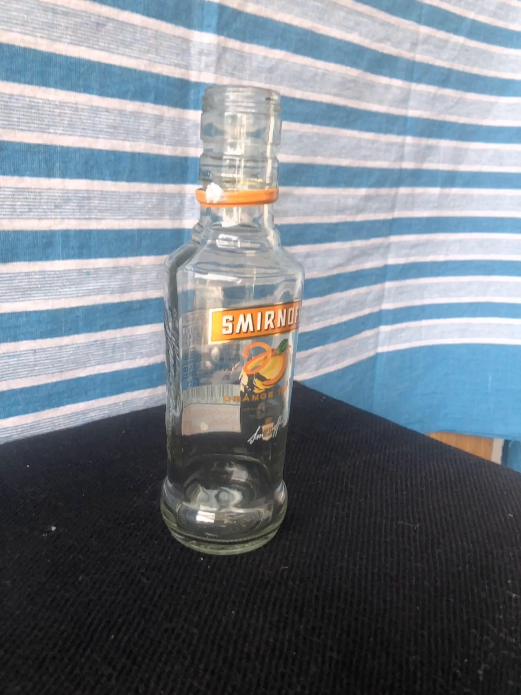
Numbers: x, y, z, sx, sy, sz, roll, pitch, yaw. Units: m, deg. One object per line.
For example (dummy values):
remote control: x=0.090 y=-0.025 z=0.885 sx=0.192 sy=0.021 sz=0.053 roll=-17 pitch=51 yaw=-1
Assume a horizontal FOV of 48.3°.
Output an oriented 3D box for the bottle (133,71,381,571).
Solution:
bottle: x=-0.007 y=-0.008 z=0.226 sx=0.060 sy=0.169 sz=0.050 roll=-3 pitch=19 yaw=-32
